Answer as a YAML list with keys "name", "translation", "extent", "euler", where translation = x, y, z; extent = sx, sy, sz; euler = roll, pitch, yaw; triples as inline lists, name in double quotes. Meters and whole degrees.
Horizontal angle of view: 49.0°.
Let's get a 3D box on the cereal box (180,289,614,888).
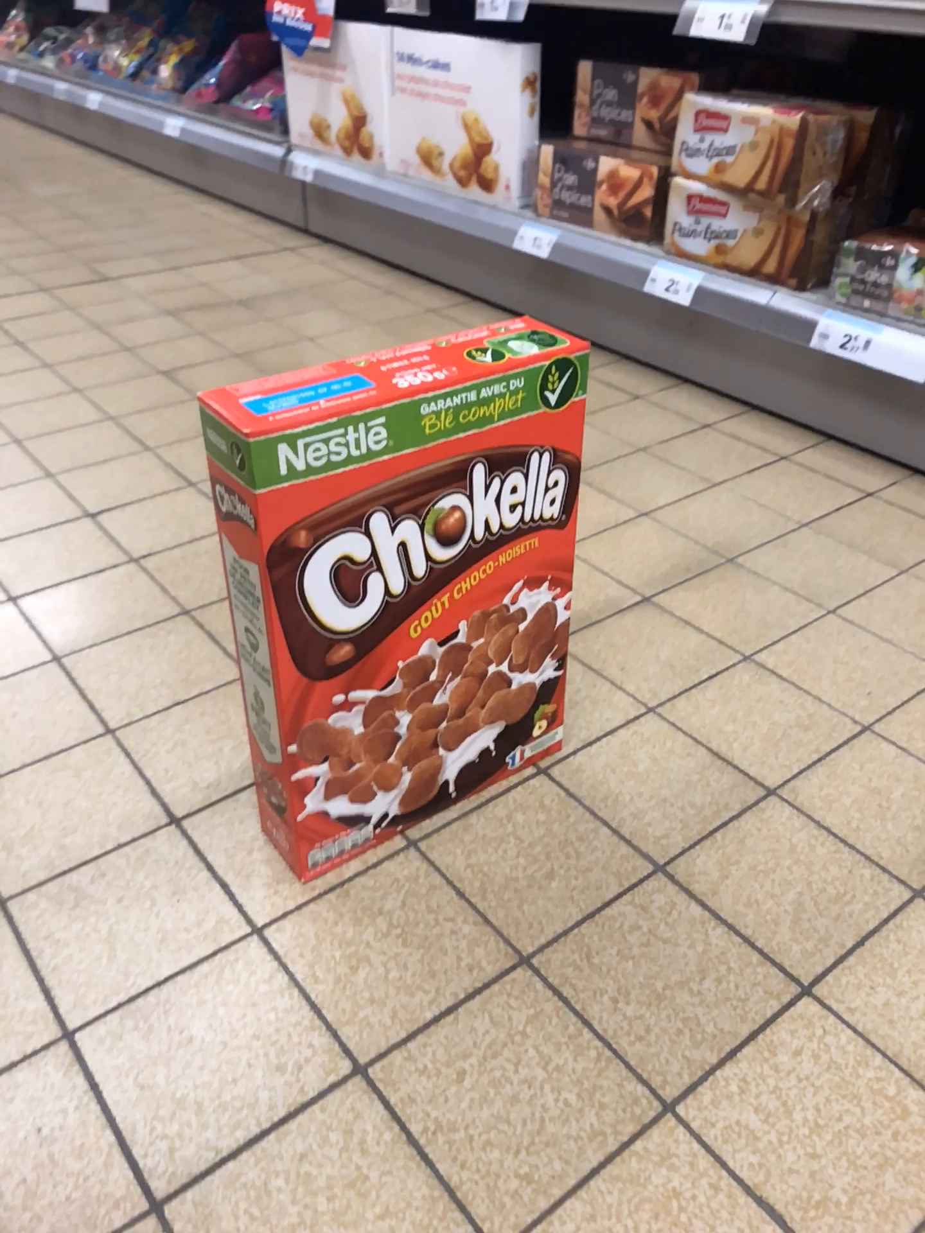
- name: "cereal box"
  translation: [-0.026, -0.014, 0.548]
  extent: [0.201, 0.278, 0.060]
  euler: [-21, 39, -30]
